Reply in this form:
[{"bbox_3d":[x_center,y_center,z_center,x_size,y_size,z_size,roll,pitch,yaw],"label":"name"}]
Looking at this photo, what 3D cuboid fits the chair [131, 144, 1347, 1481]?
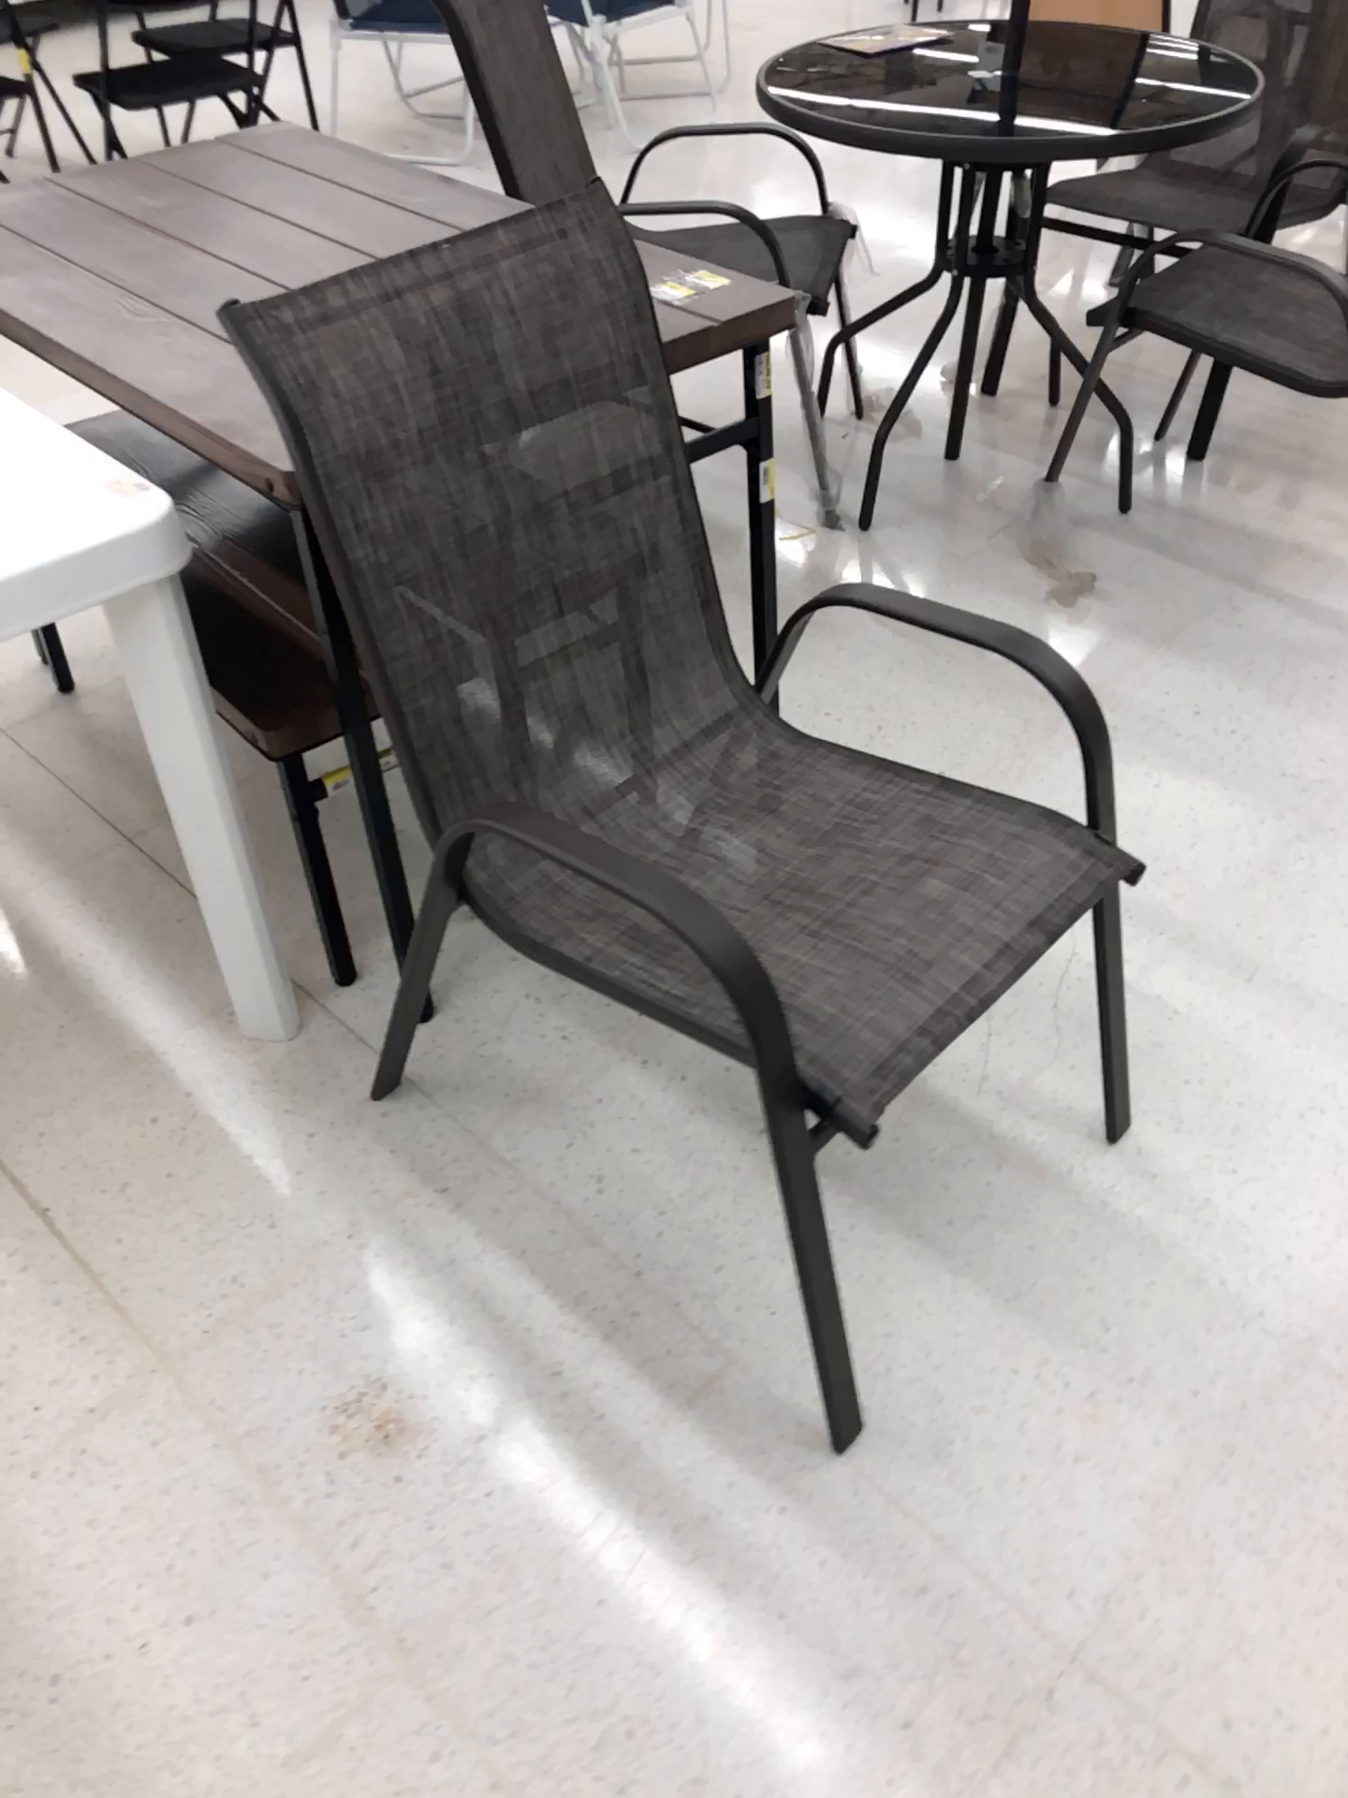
[{"bbox_3d":[0.066,-0.116,1.371,0.712,0.854,0.602,30,50,32],"label":"chair"}]
